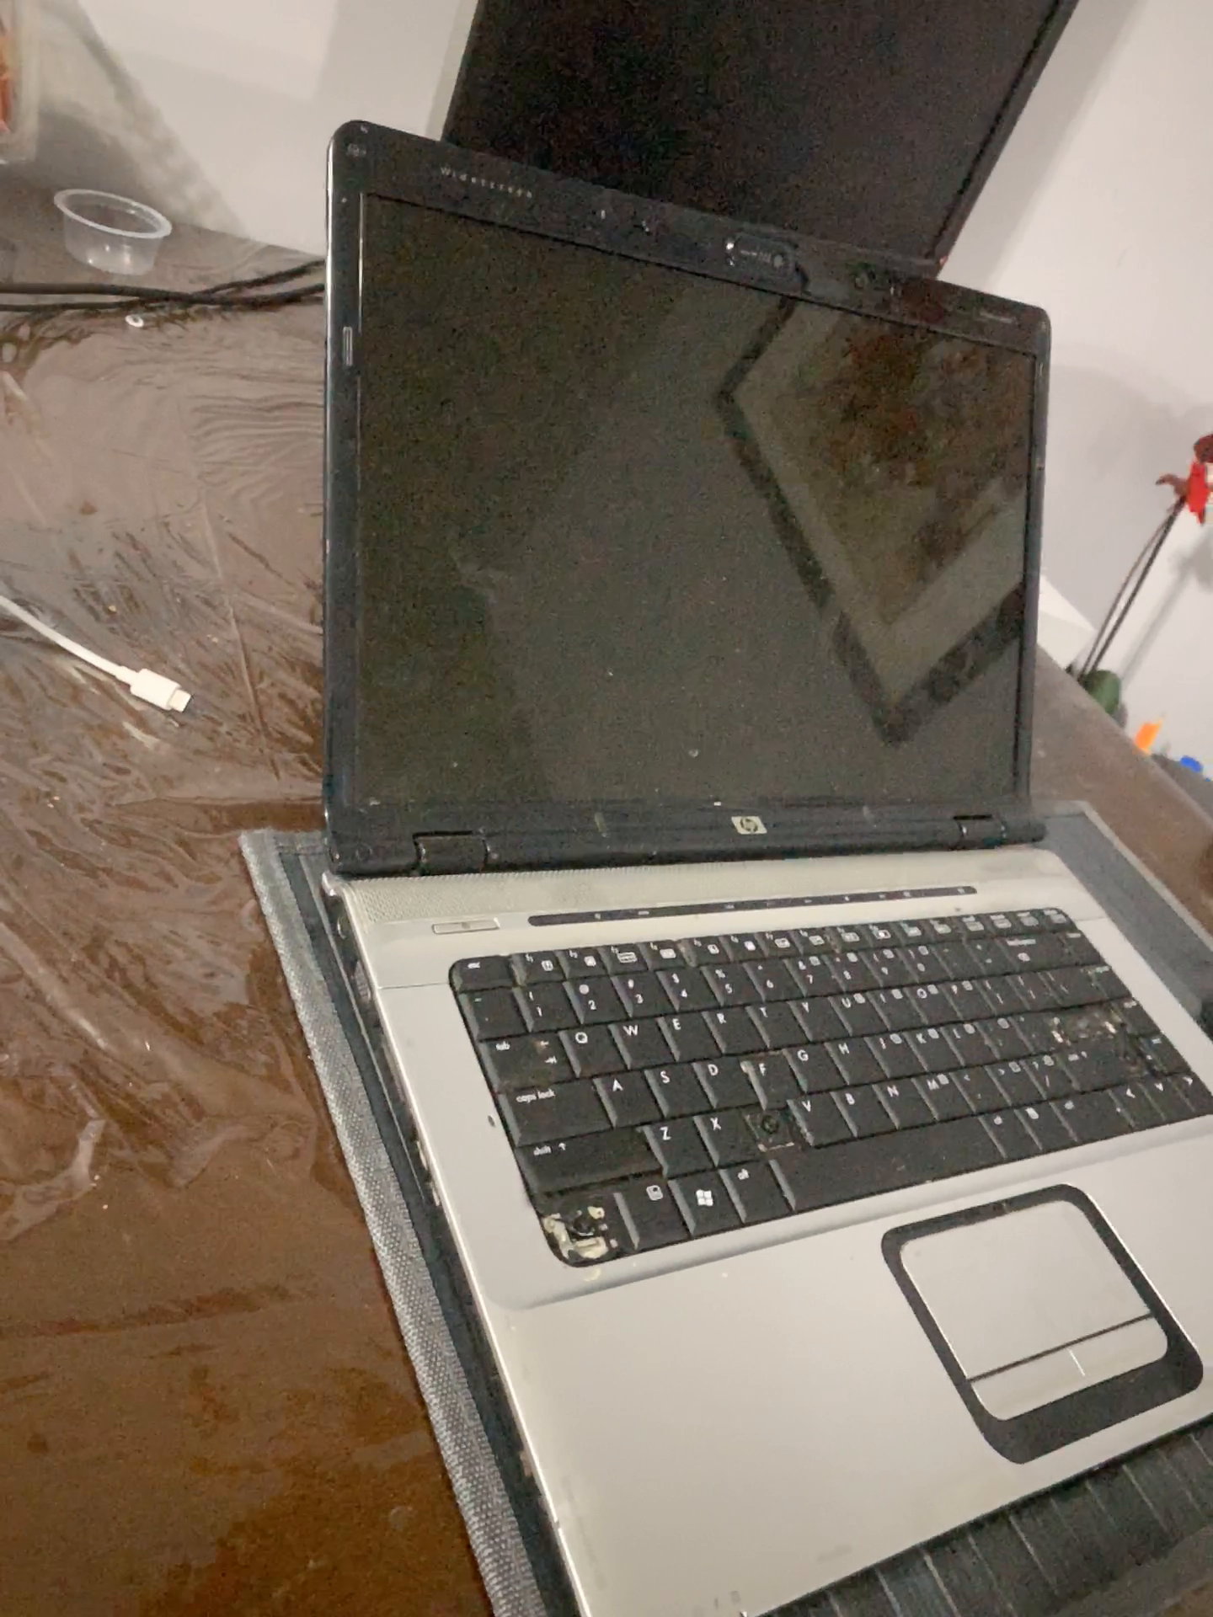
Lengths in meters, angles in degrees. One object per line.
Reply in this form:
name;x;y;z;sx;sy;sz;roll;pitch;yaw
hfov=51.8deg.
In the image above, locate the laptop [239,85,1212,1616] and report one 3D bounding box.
laptop;0.106;-0.029;0.428;0.349;0.186;0.403;-1;44;-32
